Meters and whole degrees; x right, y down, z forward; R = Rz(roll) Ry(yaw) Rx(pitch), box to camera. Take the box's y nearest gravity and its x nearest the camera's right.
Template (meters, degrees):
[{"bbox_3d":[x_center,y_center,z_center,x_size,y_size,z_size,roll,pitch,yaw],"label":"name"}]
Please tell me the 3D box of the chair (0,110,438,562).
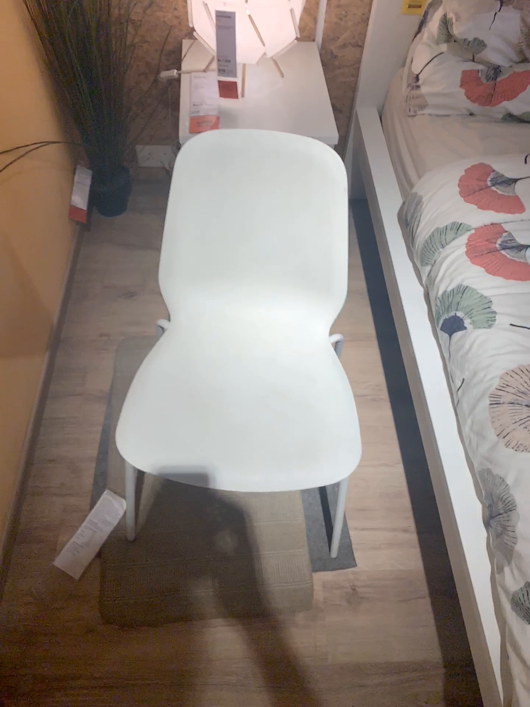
[{"bbox_3d":[-0.062,0.026,1.131,0.540,0.758,0.561,4,55,0],"label":"chair"}]
